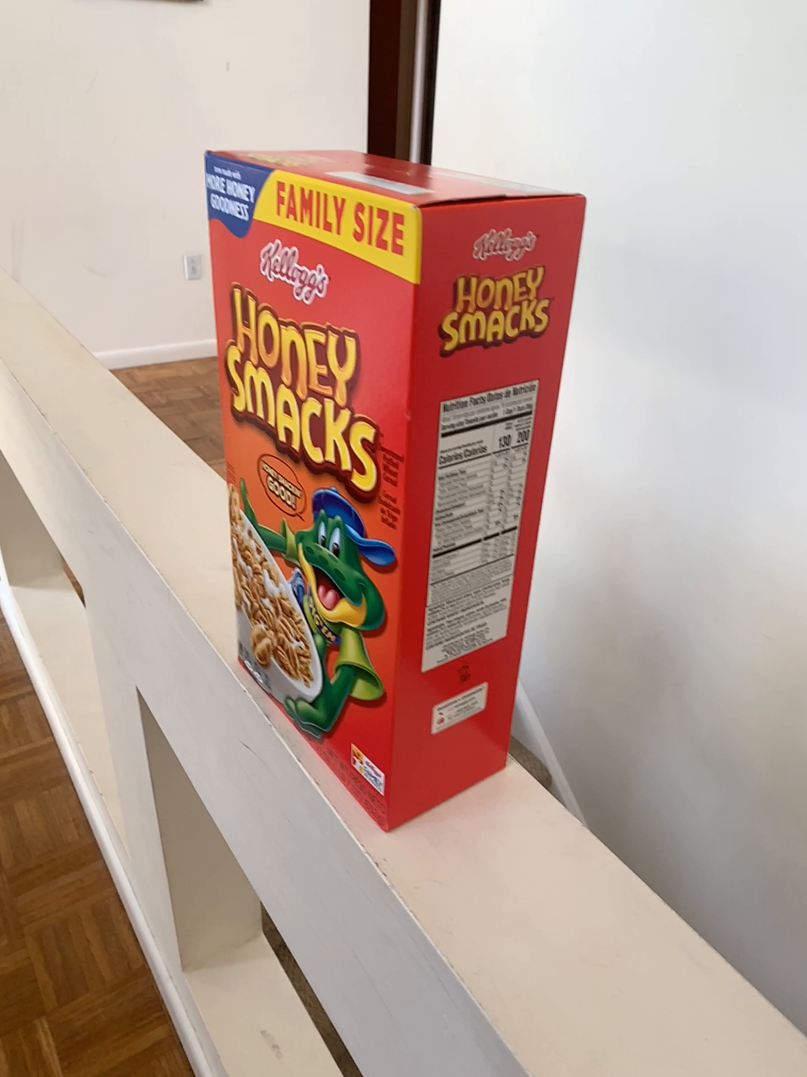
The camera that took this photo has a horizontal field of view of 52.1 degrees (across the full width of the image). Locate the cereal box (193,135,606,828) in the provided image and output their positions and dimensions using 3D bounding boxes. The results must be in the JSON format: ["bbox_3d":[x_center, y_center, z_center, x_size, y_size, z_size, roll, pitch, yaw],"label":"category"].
[{"bbox_3d":[-0.023,-0.041,0.488,0.100,0.338,0.211,-17,35,-32],"label":"cereal box"}]
